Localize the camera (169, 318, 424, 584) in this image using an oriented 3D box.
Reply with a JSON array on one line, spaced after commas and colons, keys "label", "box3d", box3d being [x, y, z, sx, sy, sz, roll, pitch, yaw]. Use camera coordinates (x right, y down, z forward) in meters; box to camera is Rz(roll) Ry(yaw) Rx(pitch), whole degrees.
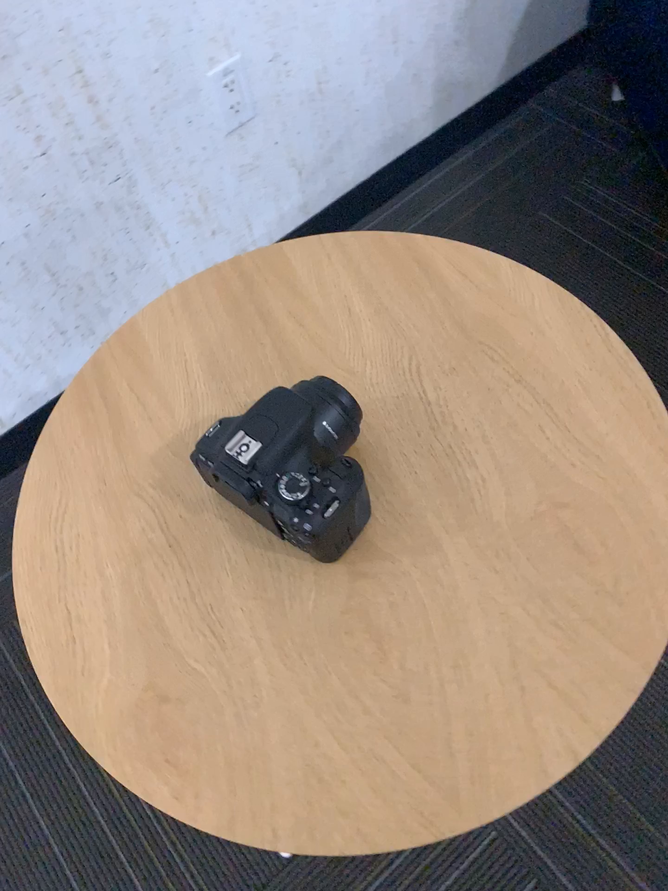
[{"label": "camera", "box3d": [-0.021, 0.004, 0.514, 0.130, 0.100, 0.120, 33, 70, 23]}]
